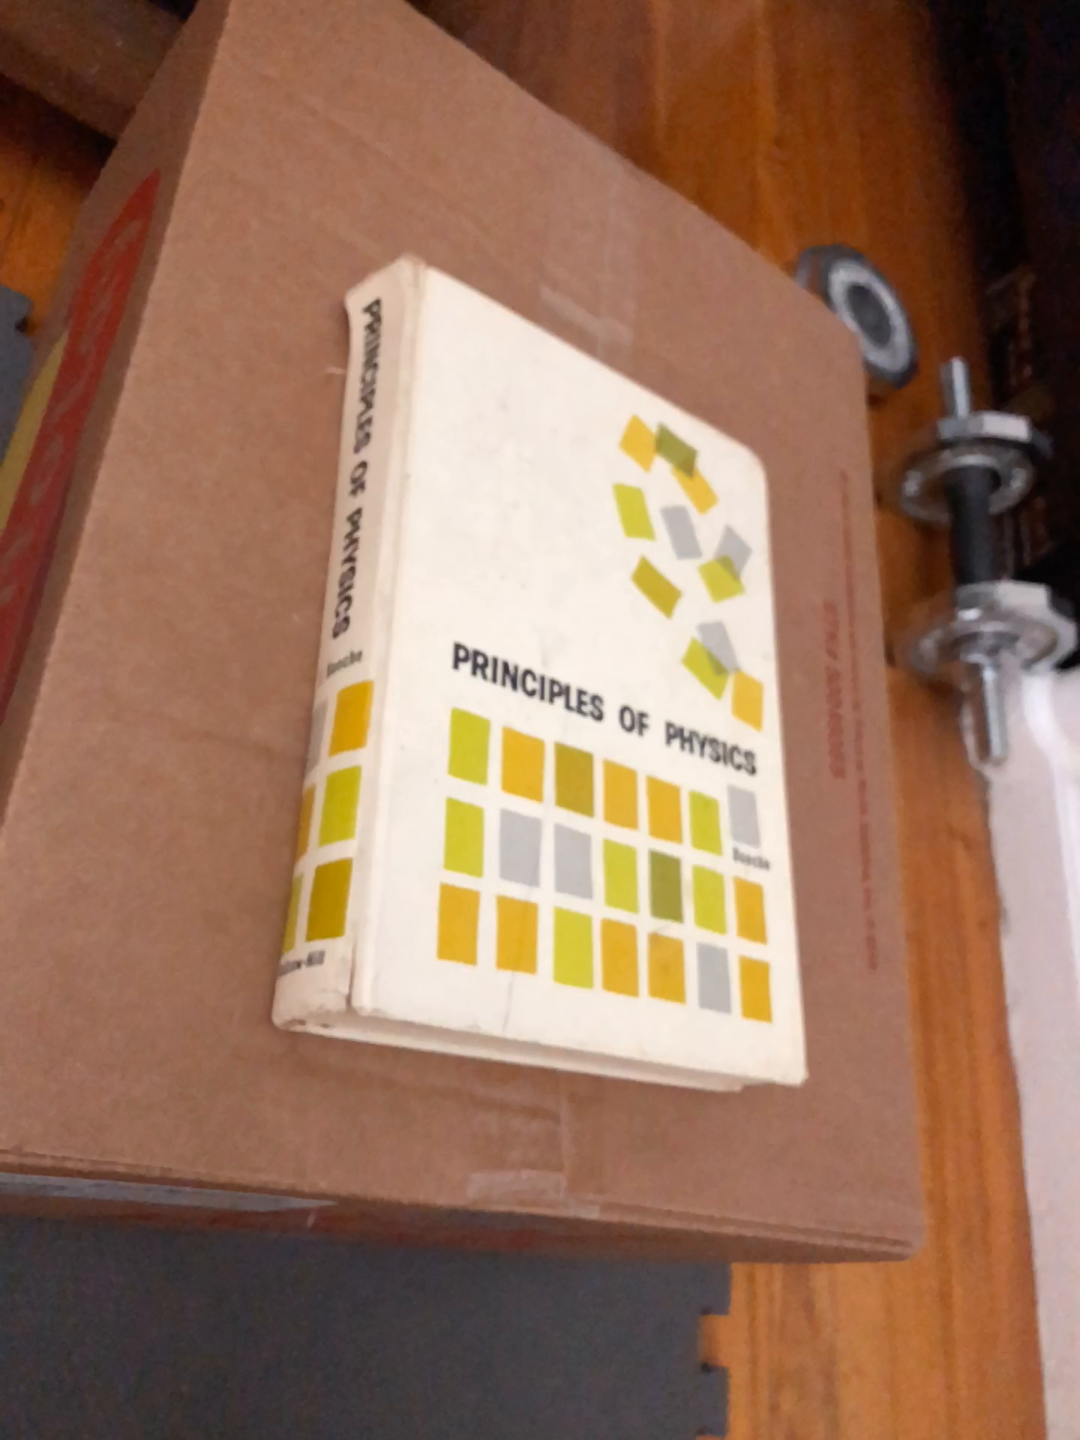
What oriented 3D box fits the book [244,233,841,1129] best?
[{"bbox_3d":[0.014,-0.009,0.393,0.181,0.040,0.251,20,60,-33],"label":"book"}]
